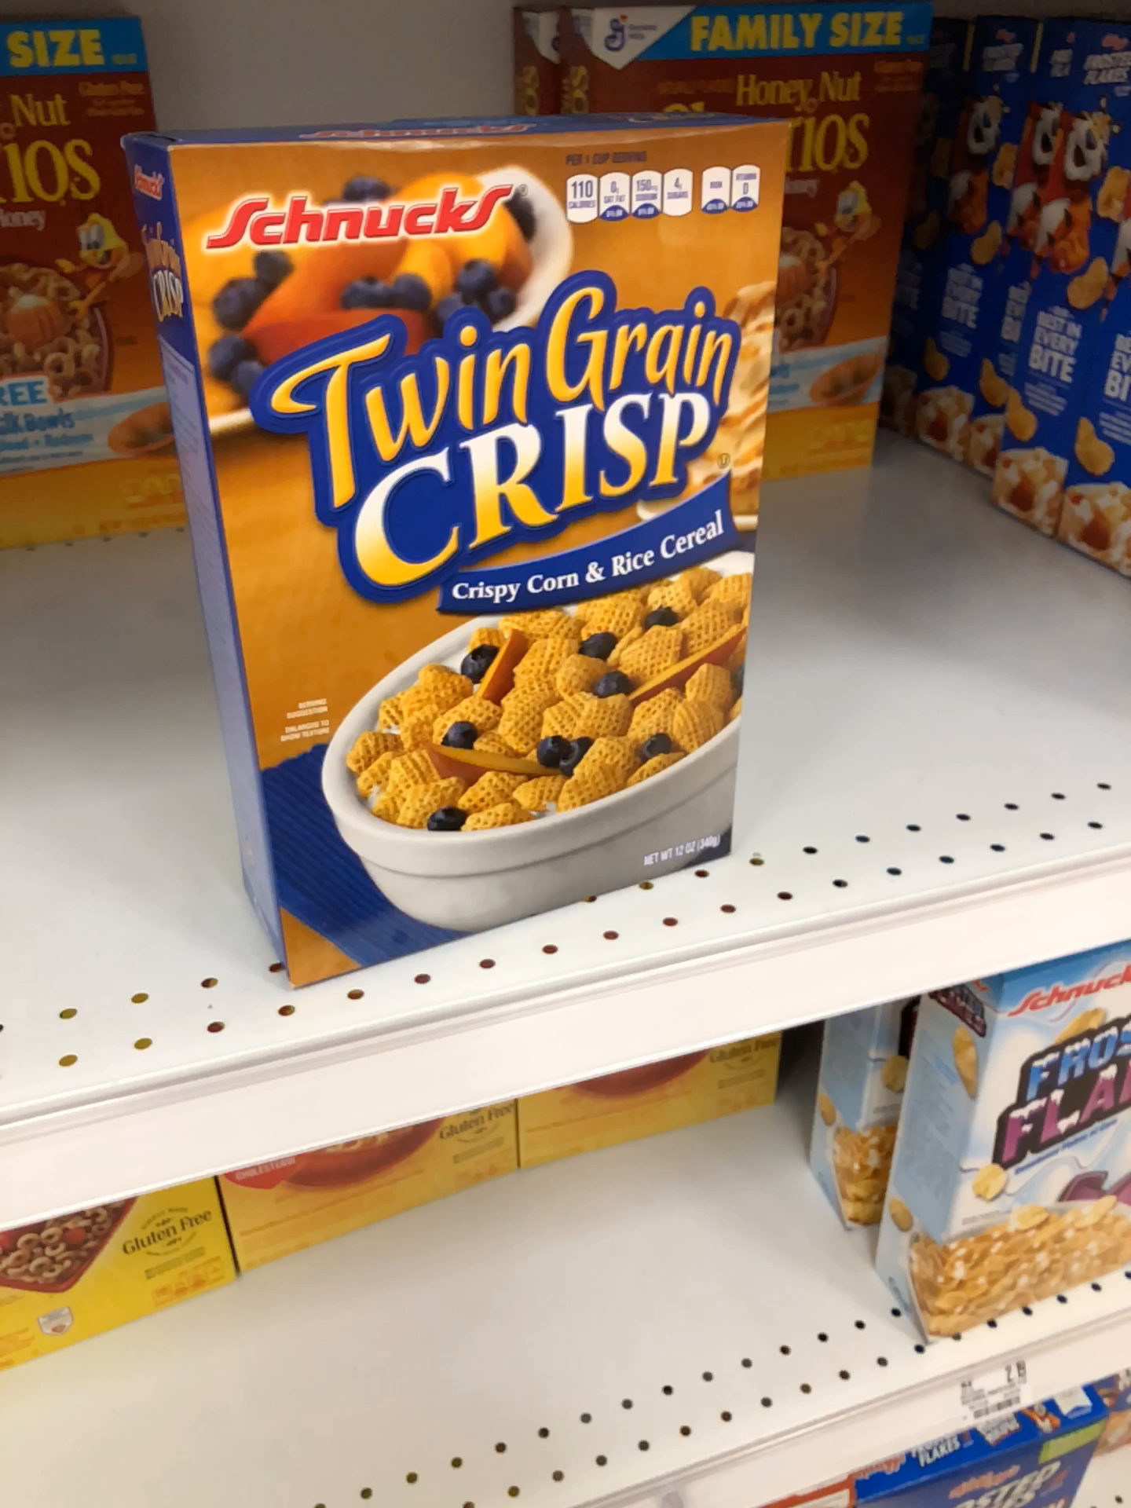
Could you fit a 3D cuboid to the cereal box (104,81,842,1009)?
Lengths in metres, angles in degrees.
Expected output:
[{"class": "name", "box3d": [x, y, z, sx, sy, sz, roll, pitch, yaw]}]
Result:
[{"class": "cereal box", "box3d": [-0.024, -0.073, 0.449, 0.210, 0.289, 0.070, -15, 34, -24]}]
